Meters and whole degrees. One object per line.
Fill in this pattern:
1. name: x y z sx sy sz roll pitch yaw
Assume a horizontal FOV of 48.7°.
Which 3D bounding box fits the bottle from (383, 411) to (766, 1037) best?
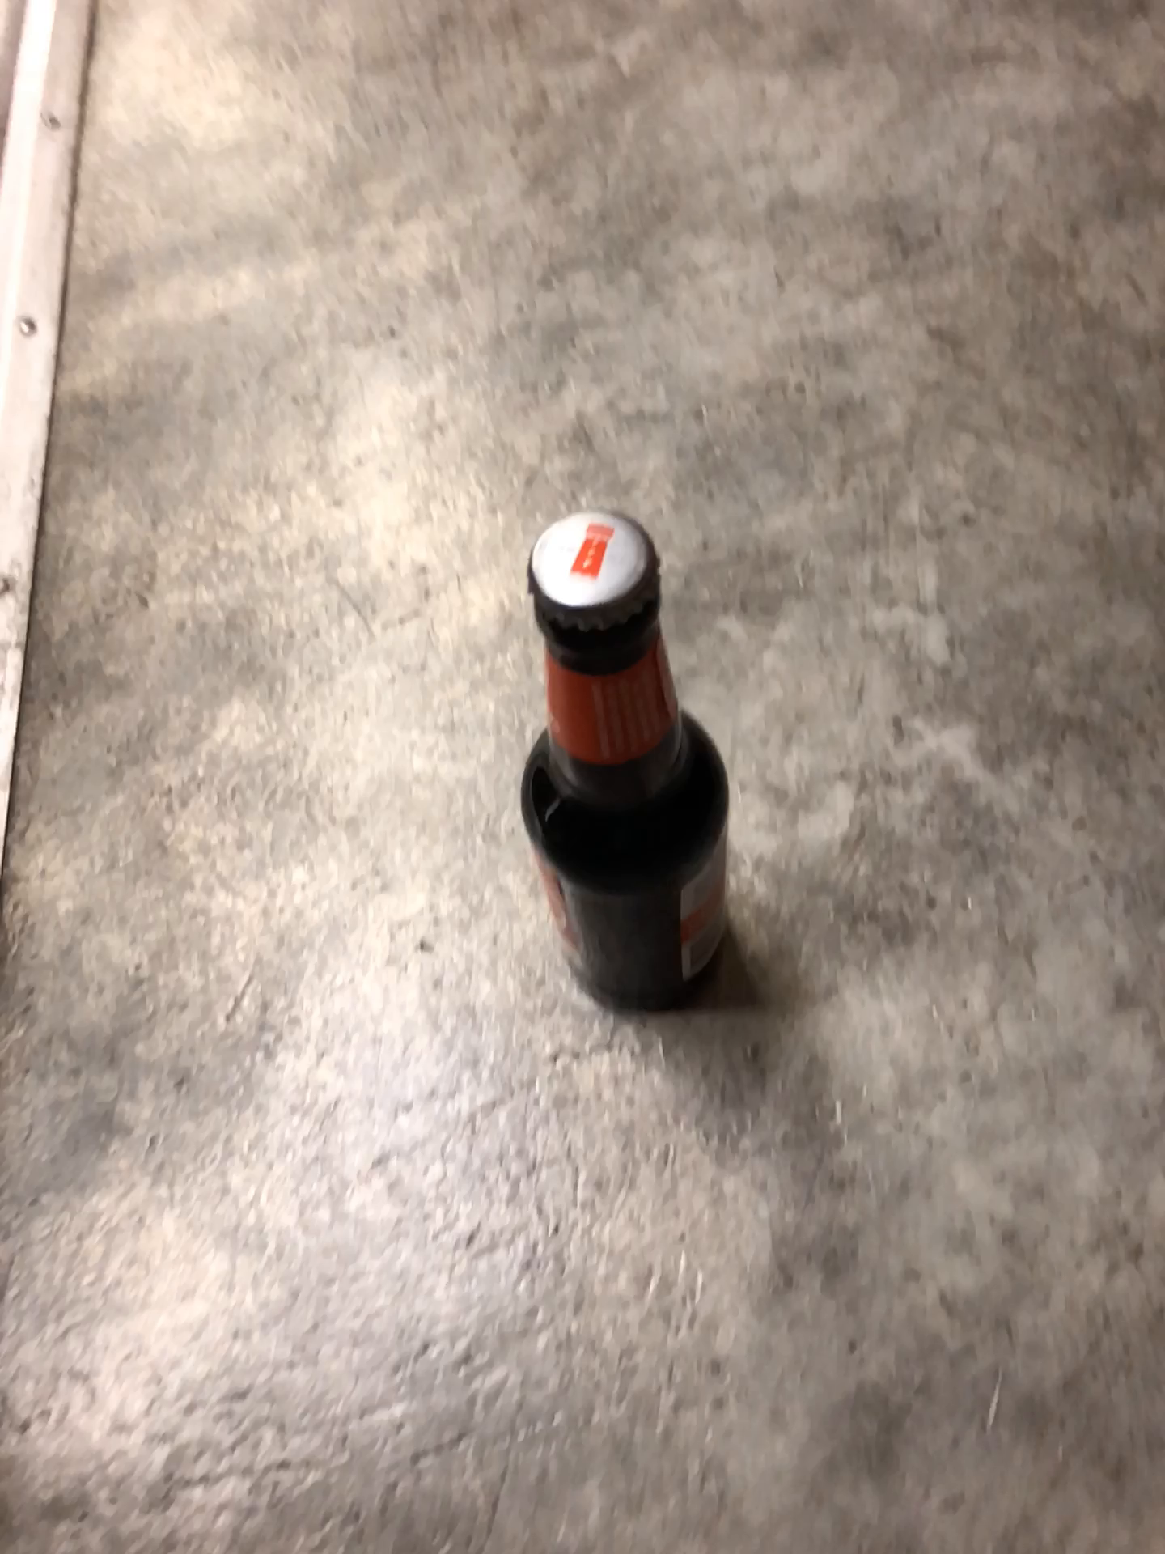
1. bottle: 0.009 0.005 0.354 0.060 0.220 0.059 -2 63 5
